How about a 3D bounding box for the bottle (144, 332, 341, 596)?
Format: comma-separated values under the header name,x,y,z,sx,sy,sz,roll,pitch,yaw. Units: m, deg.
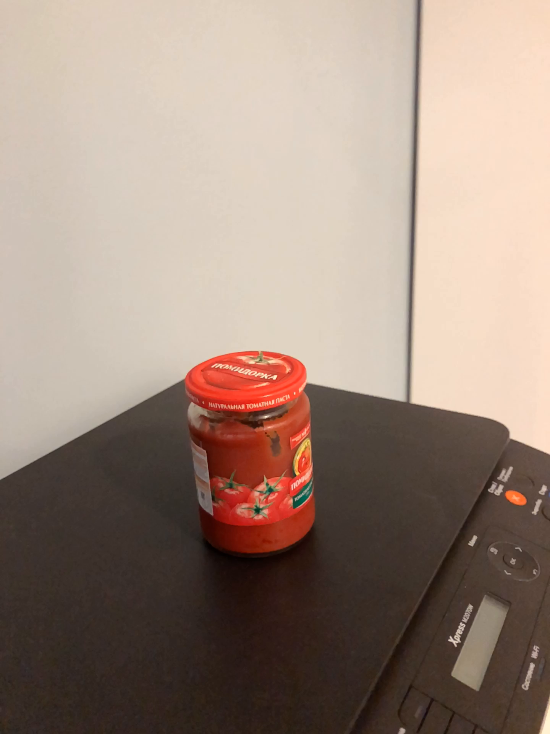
name,x,y,z,sx,sy,sz,roll,pitch,yaw
bottle,-0.015,0.049,0.350,0.070,0.109,0.080,17,29,42
